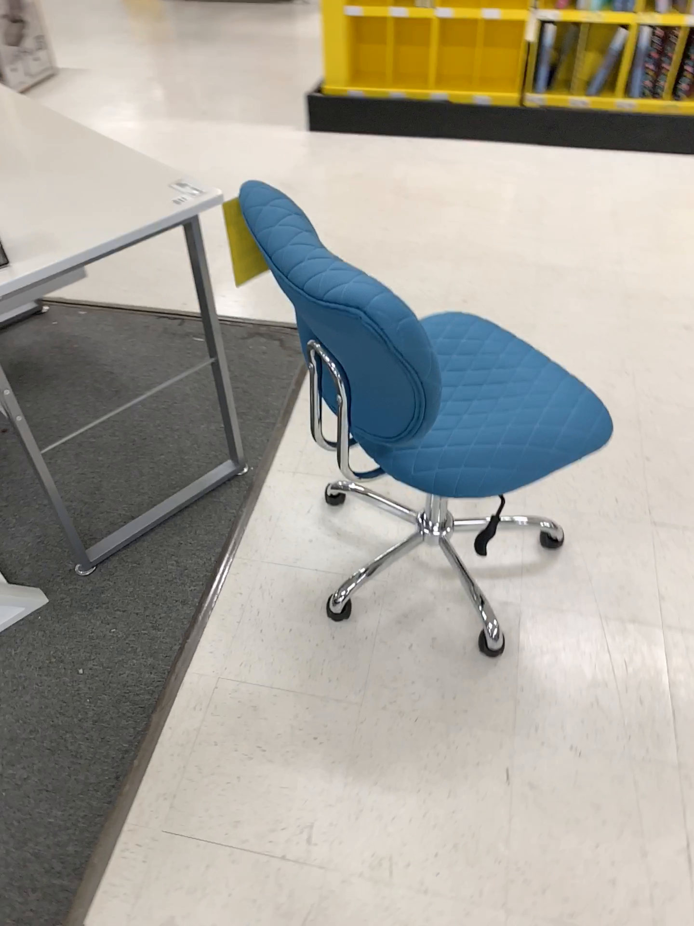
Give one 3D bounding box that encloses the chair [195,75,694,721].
[{"bbox_3d":[0.188,-0.118,1.338,0.630,0.876,0.613,-21,47,-18],"label":"chair"}]
